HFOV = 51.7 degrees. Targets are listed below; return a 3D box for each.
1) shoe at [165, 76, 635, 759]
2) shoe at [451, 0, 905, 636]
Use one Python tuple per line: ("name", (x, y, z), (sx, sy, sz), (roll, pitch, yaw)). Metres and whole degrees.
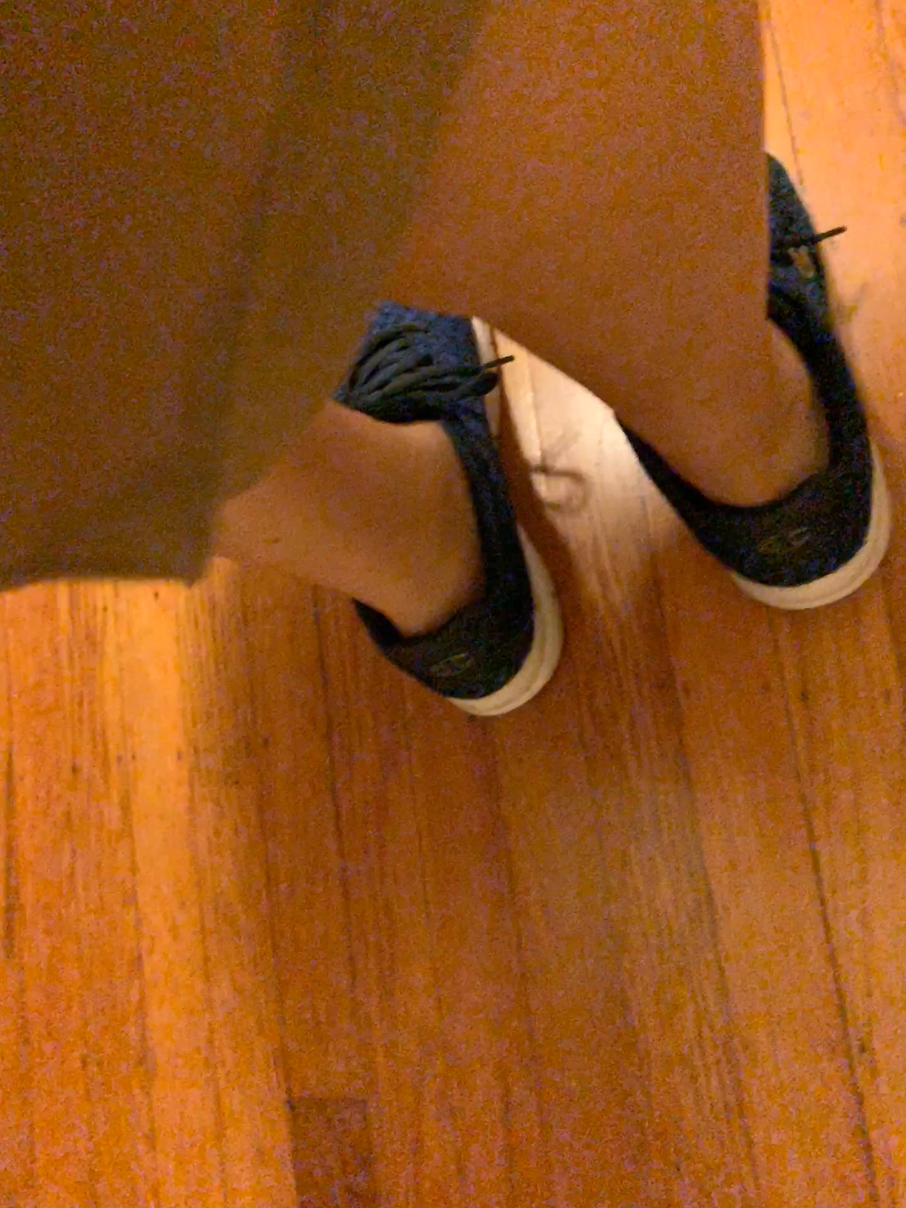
("shoe", (-0.024, -0.081, 0.486), (0.116, 0.149, 0.290), (-22, 76, 20))
("shoe", (0.120, -0.142, 0.419), (0.118, 0.129, 0.280), (-24, 75, 20))
